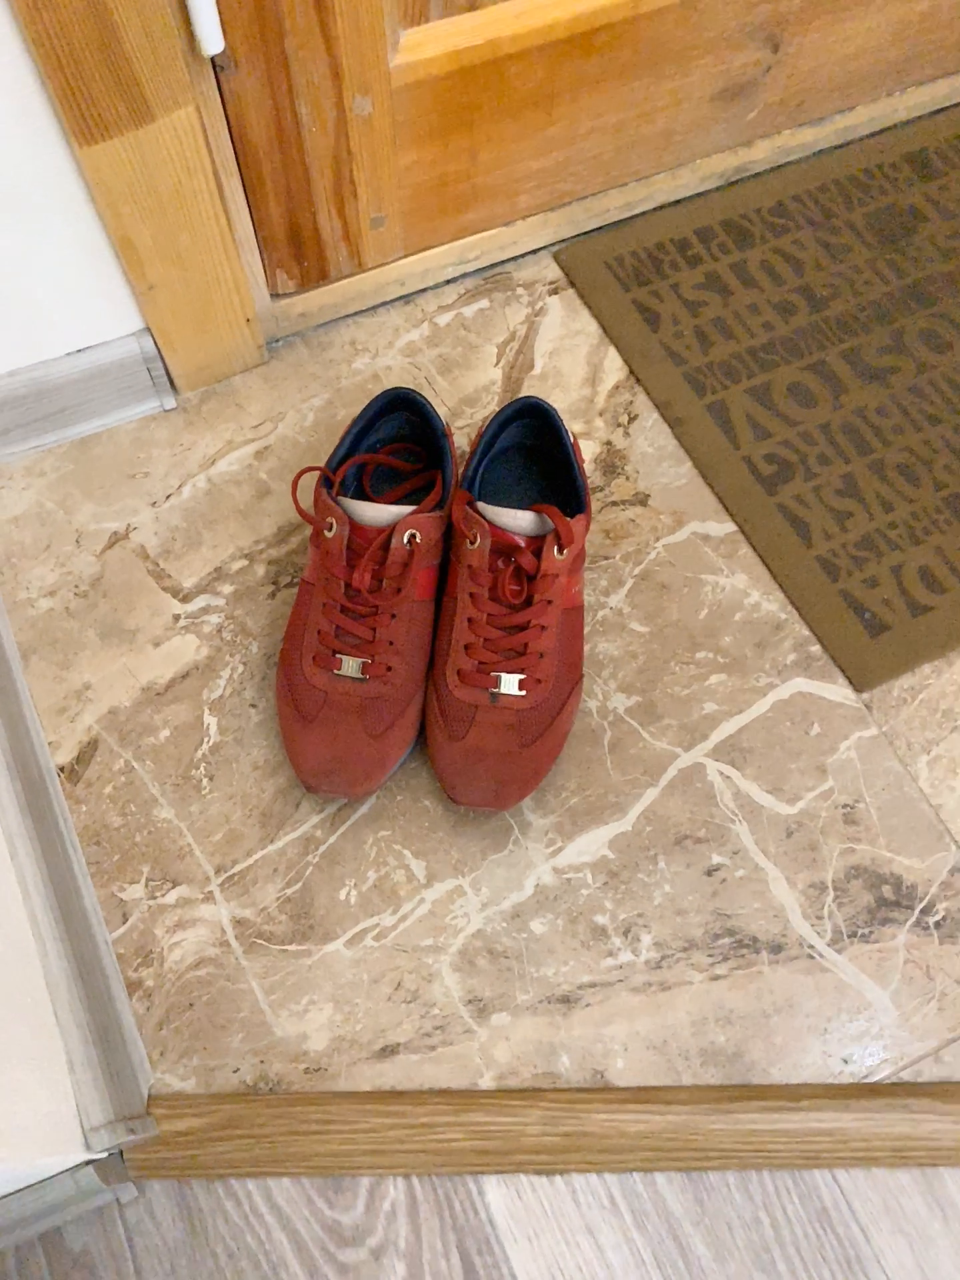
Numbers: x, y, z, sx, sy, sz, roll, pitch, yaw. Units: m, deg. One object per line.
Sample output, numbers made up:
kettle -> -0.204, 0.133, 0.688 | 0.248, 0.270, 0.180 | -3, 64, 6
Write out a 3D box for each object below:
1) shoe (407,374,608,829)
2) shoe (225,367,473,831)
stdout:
shoe -> 0.019, -0.025, 0.565 | 0.090, 0.090, 0.240 | 5, 65, 2
shoe -> -0.063, -0.026, 0.557 | 0.090, 0.090, 0.240 | 6, 65, 2
